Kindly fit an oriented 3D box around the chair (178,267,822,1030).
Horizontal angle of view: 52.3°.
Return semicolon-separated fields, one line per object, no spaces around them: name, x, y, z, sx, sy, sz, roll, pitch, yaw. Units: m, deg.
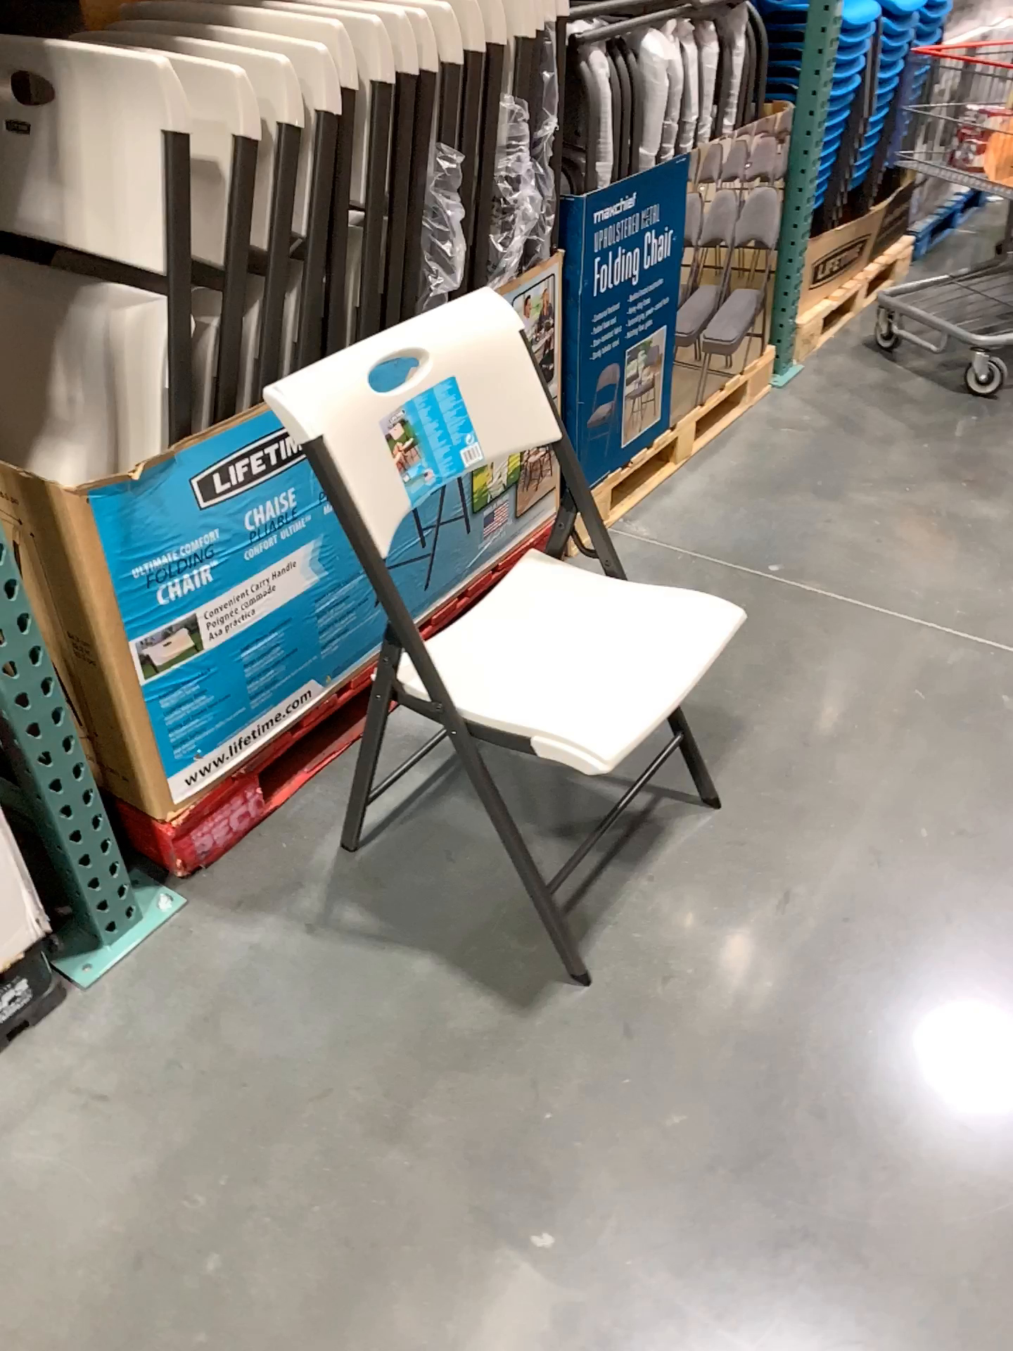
chair;0.016;-0.066;1.511;0.575;0.806;0.567;21;43;27
